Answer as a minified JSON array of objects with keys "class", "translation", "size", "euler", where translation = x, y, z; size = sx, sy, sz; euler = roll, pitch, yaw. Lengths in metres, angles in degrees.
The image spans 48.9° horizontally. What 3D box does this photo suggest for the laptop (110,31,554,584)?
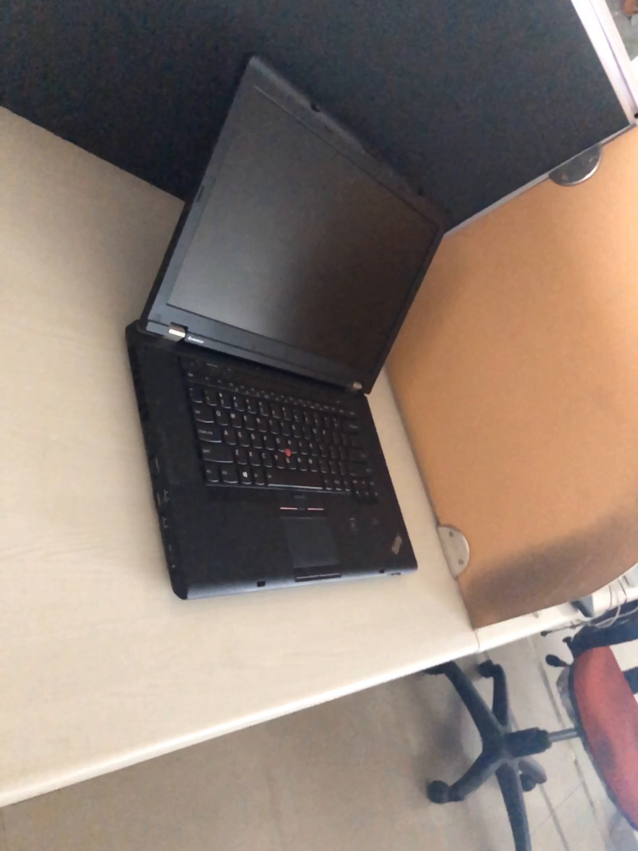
[{"class":"laptop","translation":[0.028,-0.072,0.685],"size":[0.356,0.185,0.379],"euler":[11,60,-55]}]
